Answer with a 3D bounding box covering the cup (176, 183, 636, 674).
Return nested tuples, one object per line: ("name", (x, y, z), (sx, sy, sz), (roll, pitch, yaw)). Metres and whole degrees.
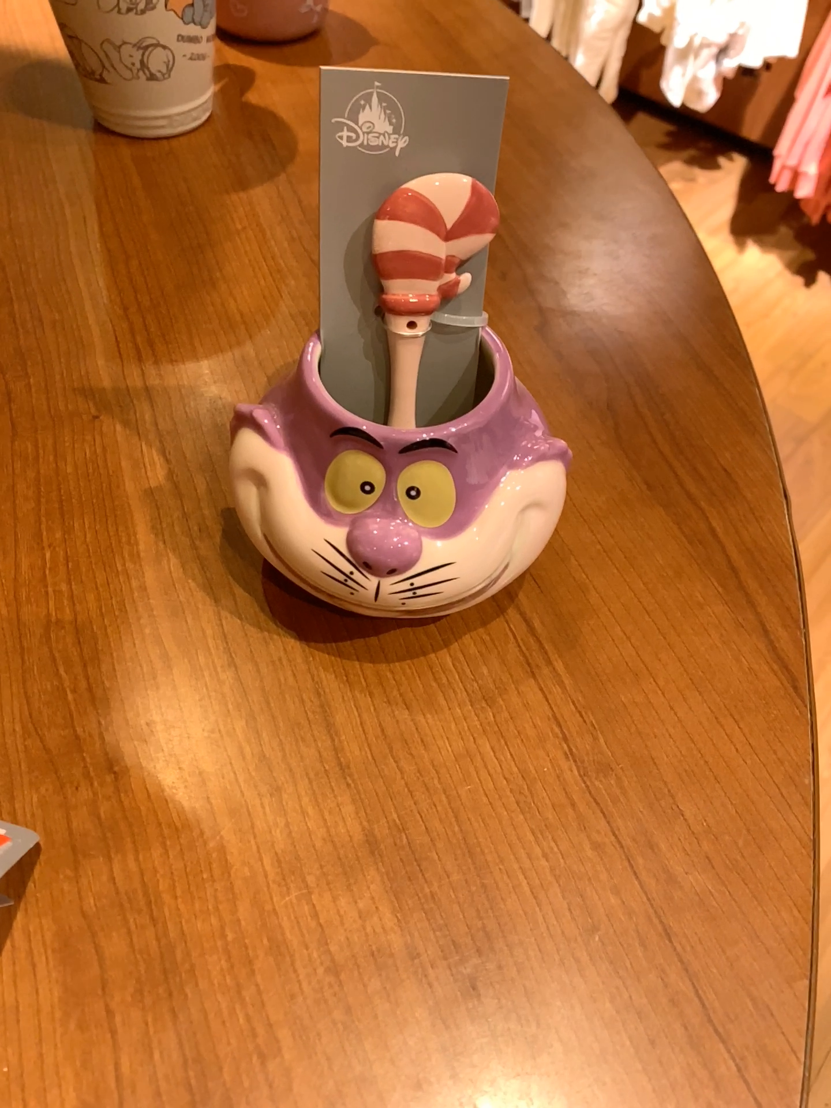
("cup", (-0.014, -0.050, 0.295), (0.114, 0.077, 0.143), (-9, 53, -10))
